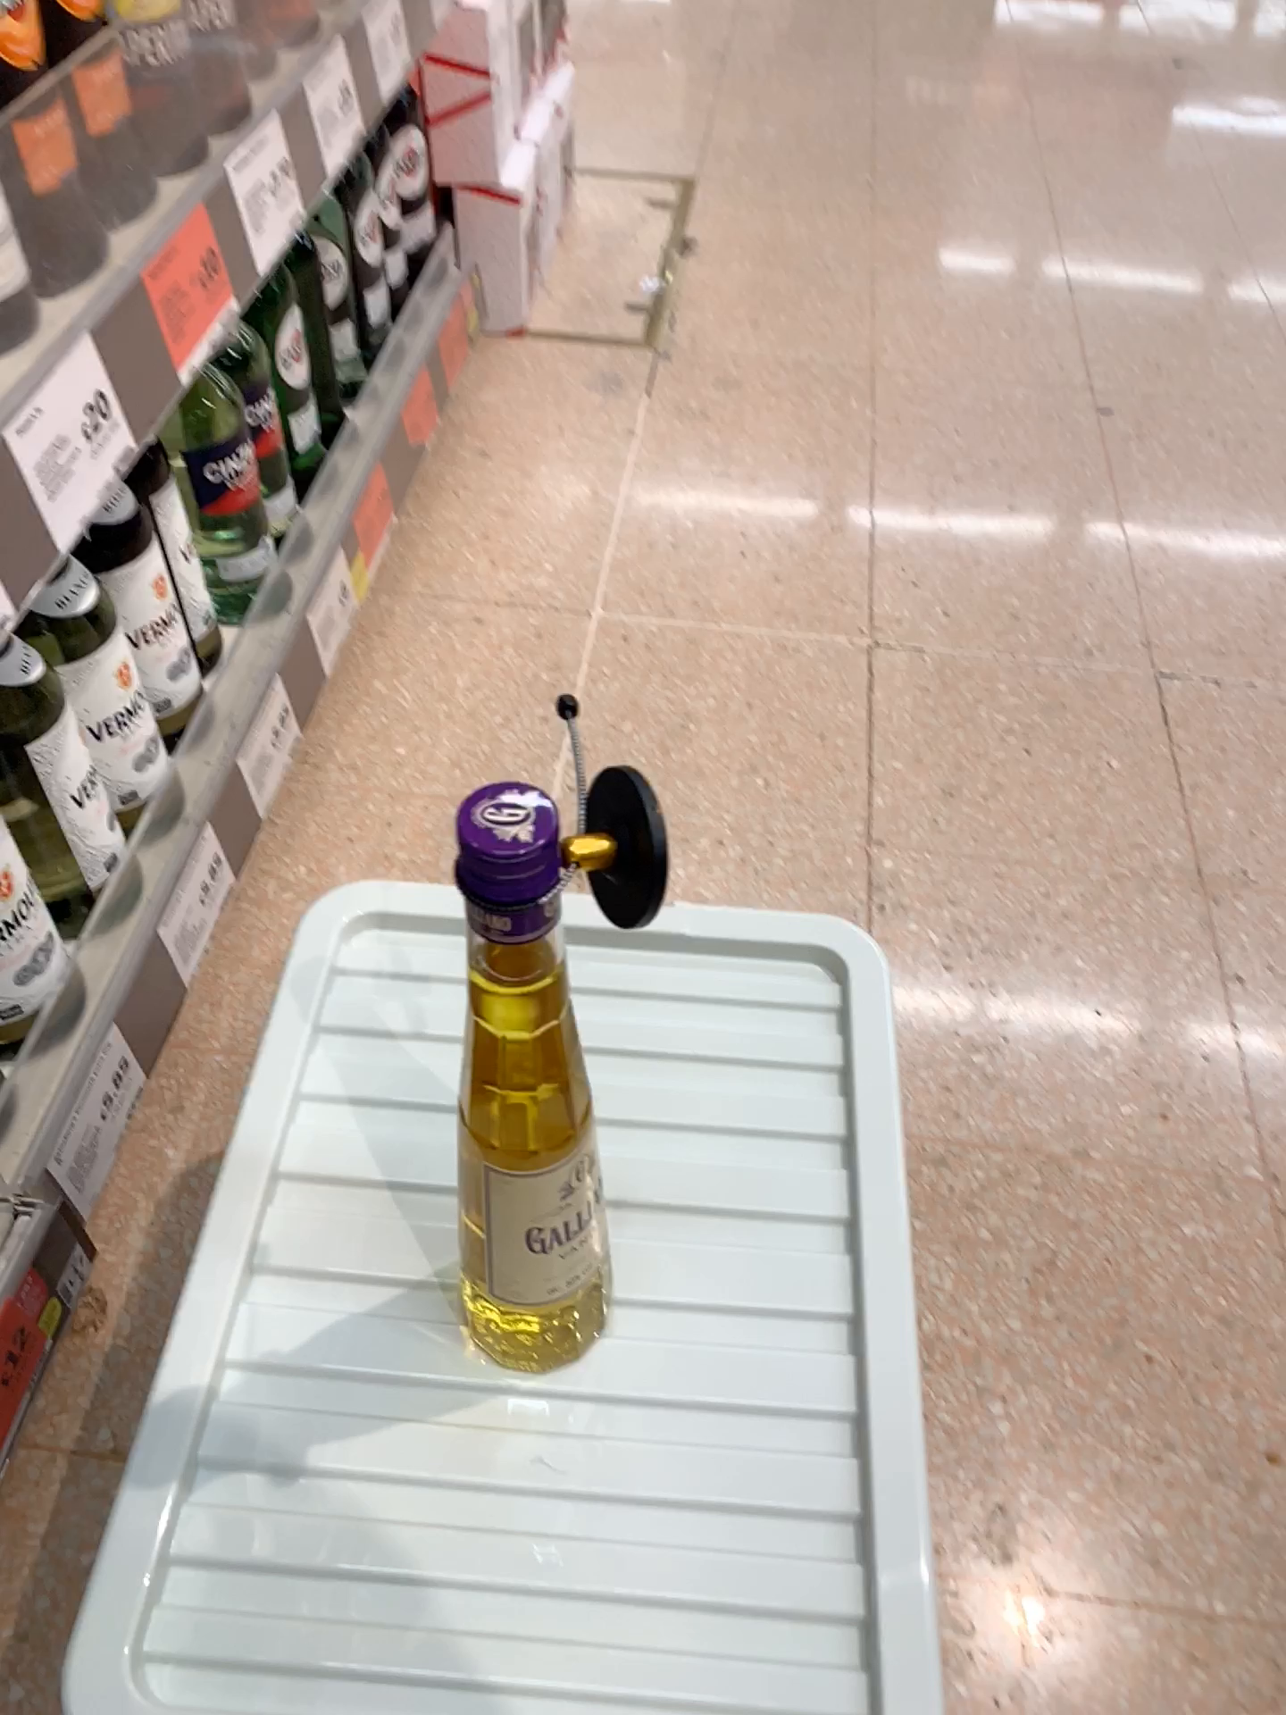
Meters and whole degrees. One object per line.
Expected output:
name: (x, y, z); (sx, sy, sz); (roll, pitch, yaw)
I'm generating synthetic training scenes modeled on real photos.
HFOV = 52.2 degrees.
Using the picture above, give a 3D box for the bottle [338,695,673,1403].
bottle: (-0.044, 0.101, 0.512); (0.070, 0.347, 0.073); (1, 48, -1)
